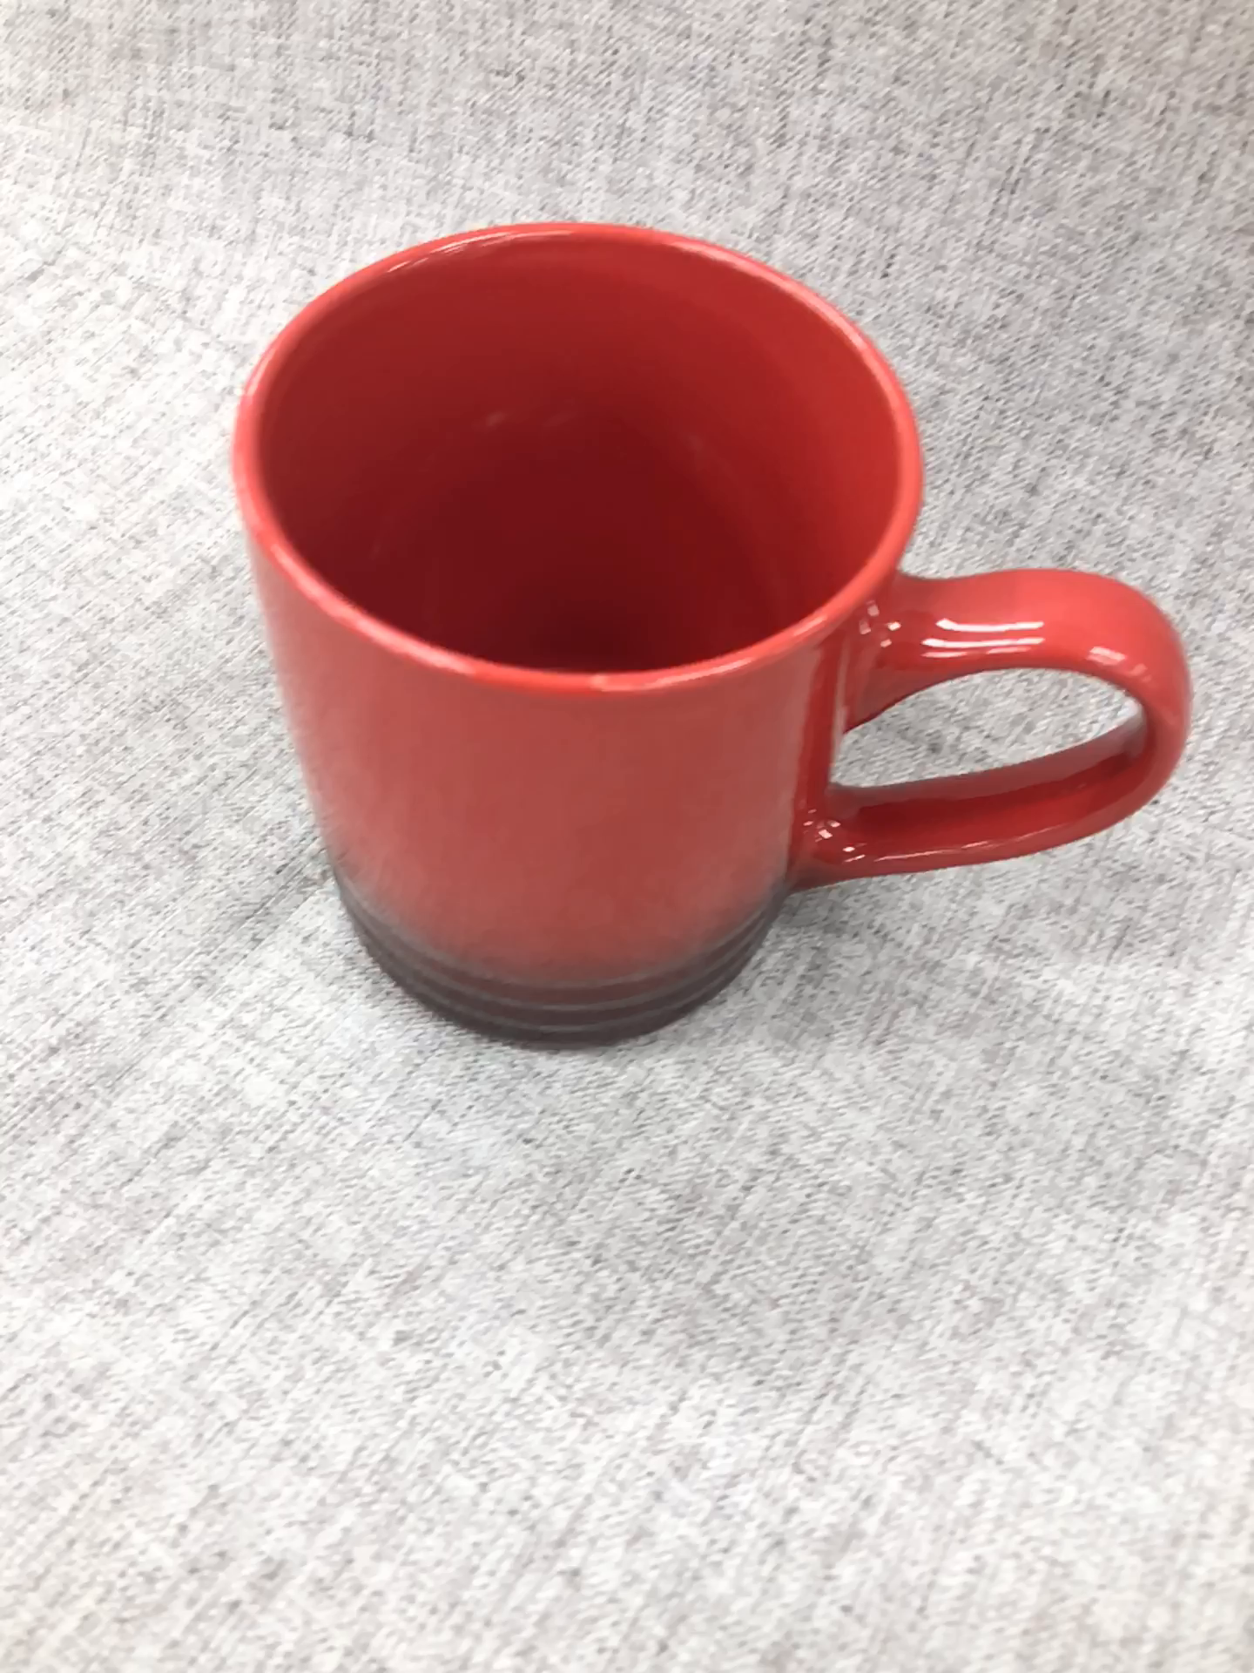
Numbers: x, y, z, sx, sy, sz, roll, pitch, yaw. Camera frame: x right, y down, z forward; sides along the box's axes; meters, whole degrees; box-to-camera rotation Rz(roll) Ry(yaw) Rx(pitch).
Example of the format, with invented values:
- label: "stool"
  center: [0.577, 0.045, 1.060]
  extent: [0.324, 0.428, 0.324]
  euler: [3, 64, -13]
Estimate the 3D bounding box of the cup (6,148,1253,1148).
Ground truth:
- label: "cup"
  center: [0.010, -0.023, 0.205]
  extent: [0.140, 0.100, 0.080]
  euler: [10, 58, 5]
